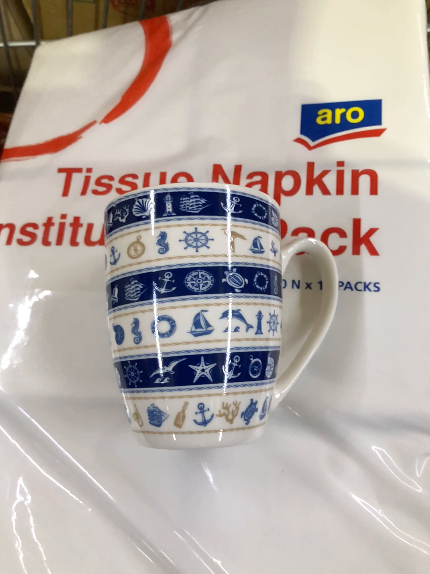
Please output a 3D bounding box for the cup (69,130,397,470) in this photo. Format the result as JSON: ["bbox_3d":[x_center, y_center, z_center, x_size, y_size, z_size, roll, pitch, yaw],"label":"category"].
[{"bbox_3d":[0.006,0.011,0.221,0.120,0.080,0.110,7,77,-33],"label":"cup"}]
